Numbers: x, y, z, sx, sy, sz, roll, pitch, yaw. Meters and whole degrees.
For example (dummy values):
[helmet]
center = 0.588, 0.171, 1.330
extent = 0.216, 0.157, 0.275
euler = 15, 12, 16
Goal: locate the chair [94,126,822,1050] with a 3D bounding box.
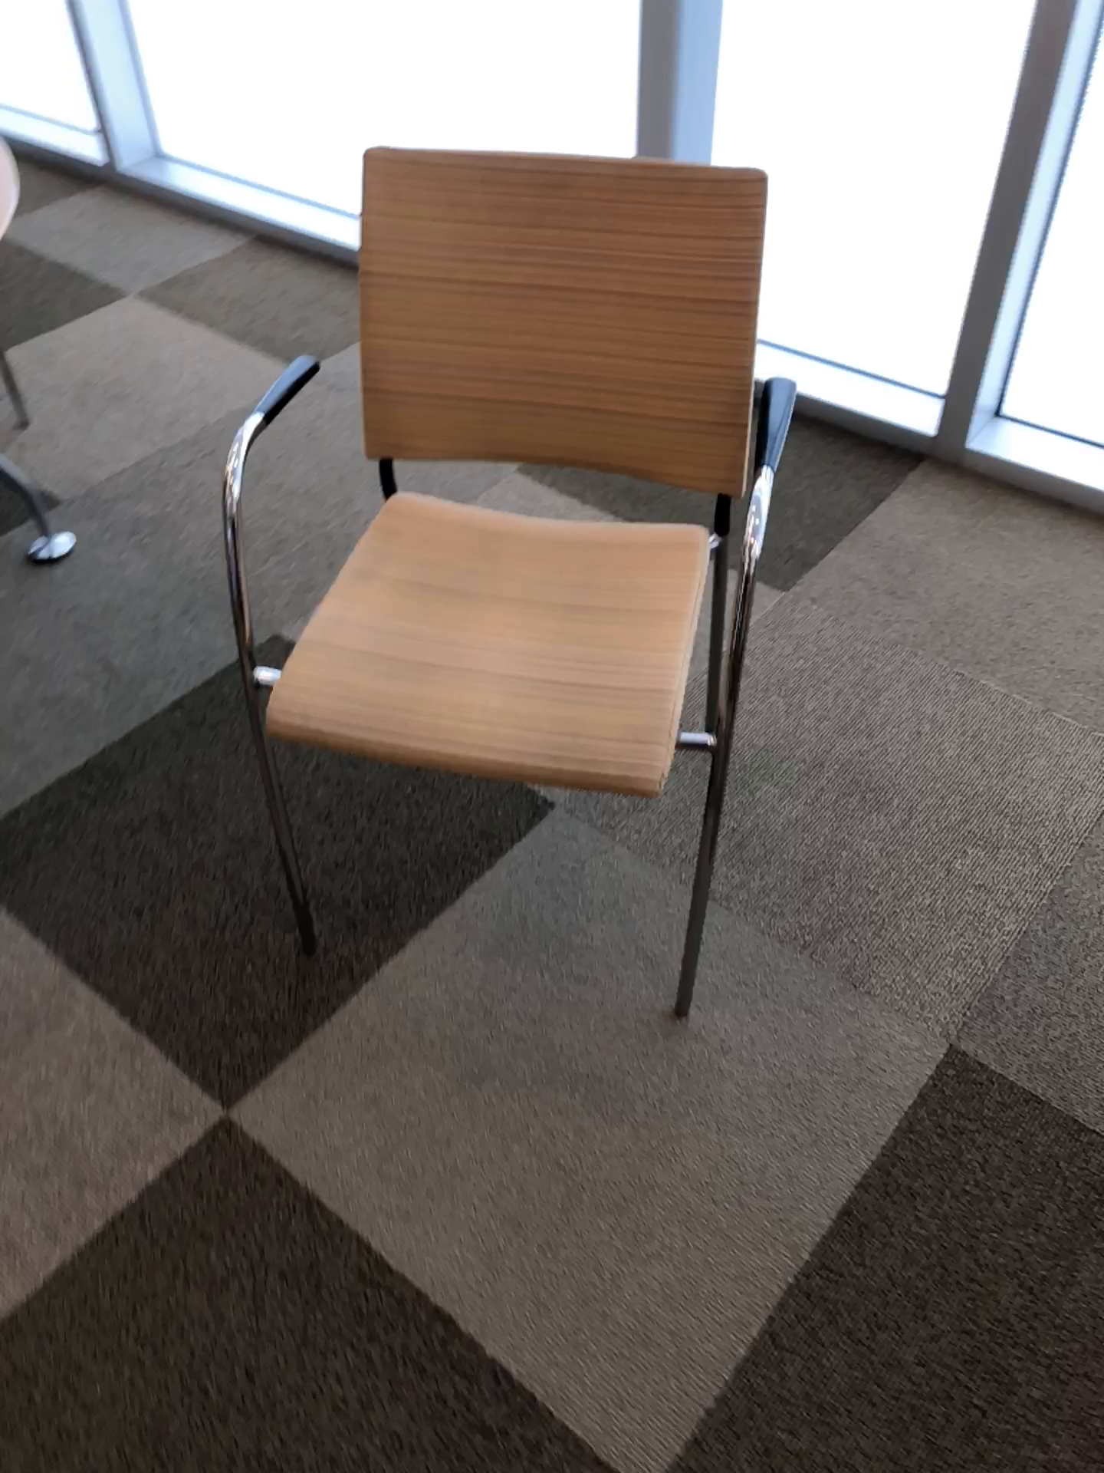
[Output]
[chair]
center = -0.030, -0.146, 1.345
extent = 0.515, 0.796, 0.548
euler = 8, 45, 9
